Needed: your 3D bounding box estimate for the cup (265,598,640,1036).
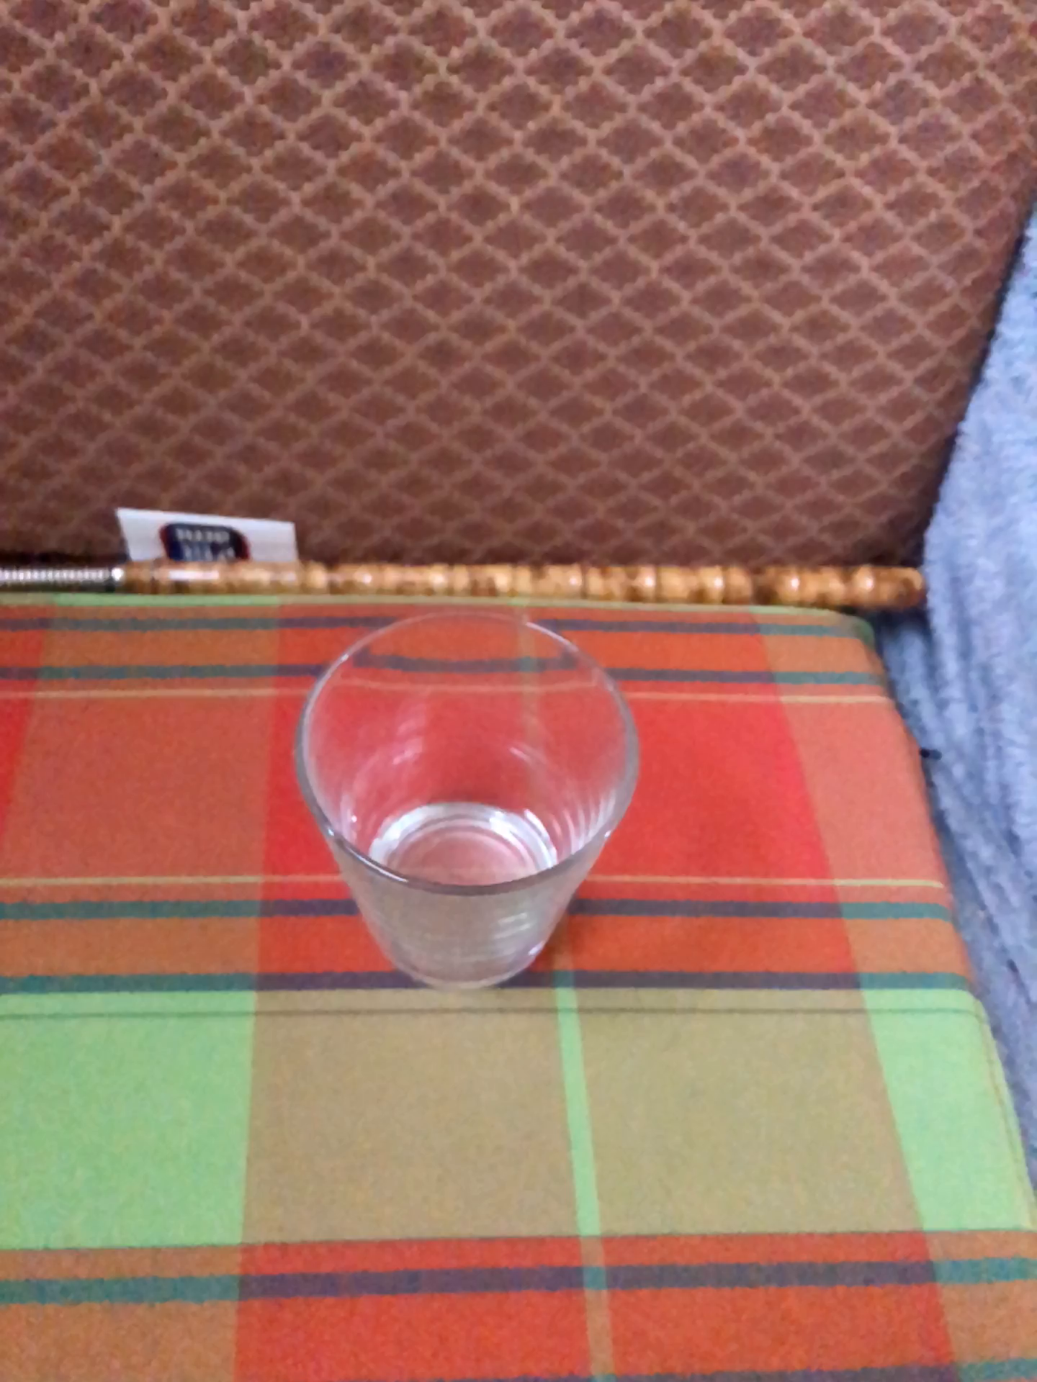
[{"bbox_3d":[-0.017,0.036,0.308,0.080,0.089,0.080,2,53,-3],"label":"cup"}]
